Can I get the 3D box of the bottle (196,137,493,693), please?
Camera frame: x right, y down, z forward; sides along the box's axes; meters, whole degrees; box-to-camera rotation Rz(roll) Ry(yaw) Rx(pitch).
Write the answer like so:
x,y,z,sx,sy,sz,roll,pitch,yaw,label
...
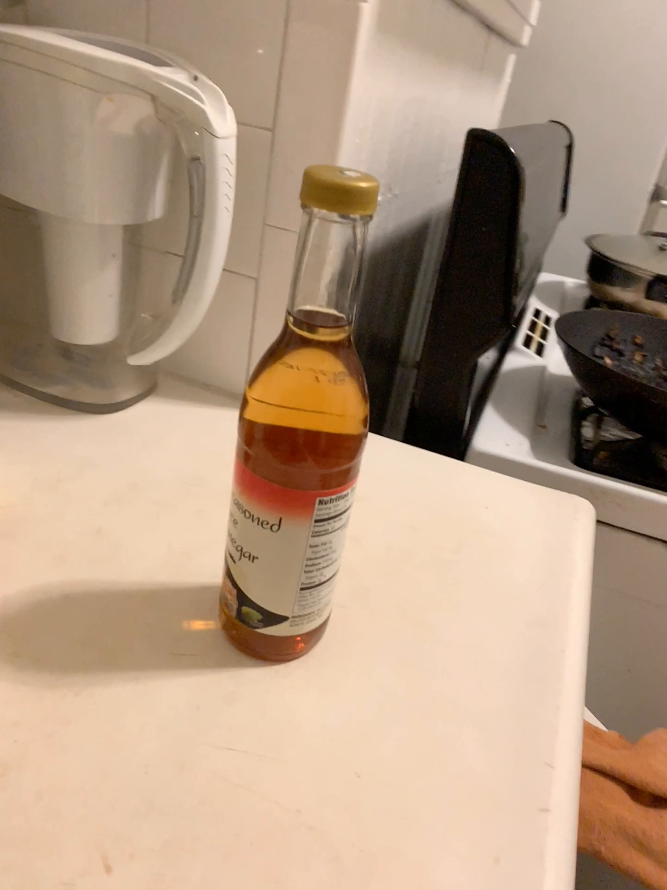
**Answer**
x,y,z,sx,sy,sz,roll,pitch,yaw,label
-0.007,-0.006,0.320,0.070,0.239,0.070,8,30,-5,bottle
